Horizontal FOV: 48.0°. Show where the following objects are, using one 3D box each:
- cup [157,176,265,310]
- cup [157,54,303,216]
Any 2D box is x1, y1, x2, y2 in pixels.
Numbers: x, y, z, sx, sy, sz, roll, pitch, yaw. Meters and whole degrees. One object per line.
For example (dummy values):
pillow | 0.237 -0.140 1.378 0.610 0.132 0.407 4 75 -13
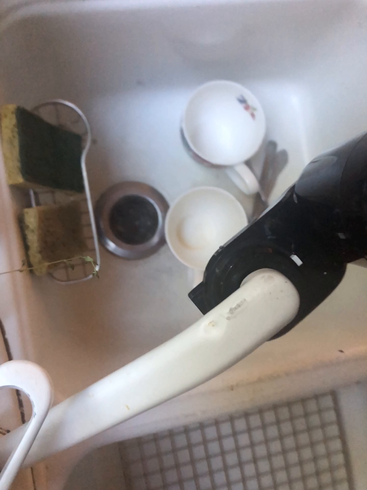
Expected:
cup | 0.031 0.000 0.501 0.100 0.070 0.140 8 86 -10
cup | 0.054 -0.132 0.514 0.110 0.070 0.150 -28 92 -10
